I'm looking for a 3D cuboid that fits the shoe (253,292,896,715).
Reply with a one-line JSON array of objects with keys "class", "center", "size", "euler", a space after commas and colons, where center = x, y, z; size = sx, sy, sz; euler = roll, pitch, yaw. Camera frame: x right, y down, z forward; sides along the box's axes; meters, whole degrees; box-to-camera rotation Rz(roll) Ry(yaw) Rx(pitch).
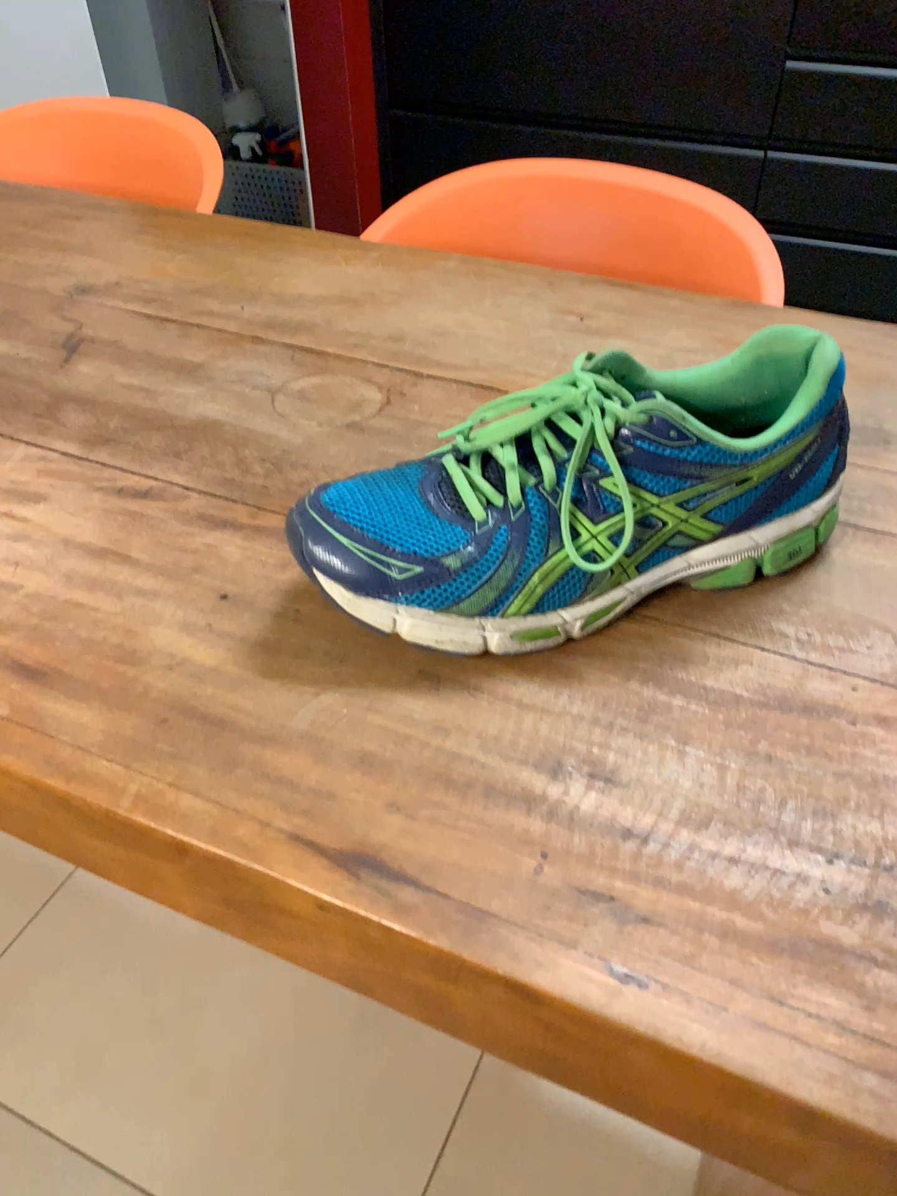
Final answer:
[{"class": "shoe", "center": [0.067, -0.054, 0.466], "size": [0.300, 0.119, 0.111], "euler": [-12, 45, -11]}]
